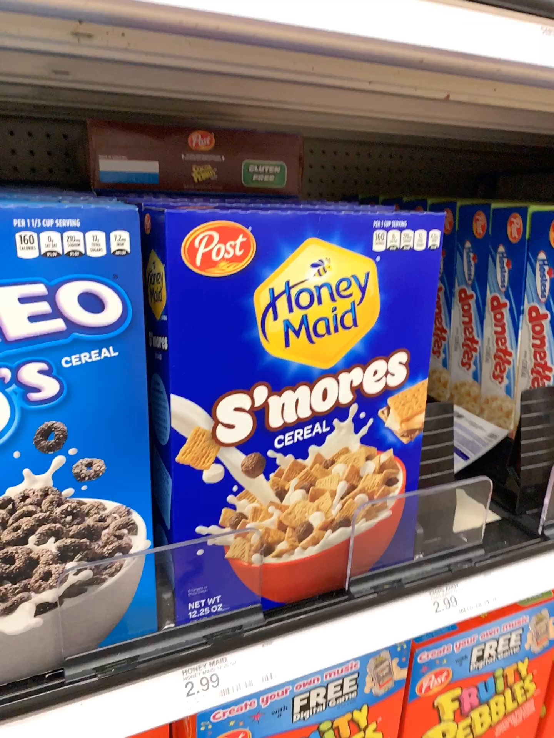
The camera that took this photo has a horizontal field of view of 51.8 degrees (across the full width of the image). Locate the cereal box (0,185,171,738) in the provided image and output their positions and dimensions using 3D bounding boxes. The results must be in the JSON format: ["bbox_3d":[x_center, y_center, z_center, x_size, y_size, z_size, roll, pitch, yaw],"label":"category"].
[{"bbox_3d":[-0.160,0.044,0.311,0.180,0.269,0.070,-7,18,-26],"label":"cereal box"}]

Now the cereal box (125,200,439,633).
[{"bbox_3d":[0.003,0.025,0.397,0.190,0.269,0.060,-6,18,-23],"label":"cereal box"}]
